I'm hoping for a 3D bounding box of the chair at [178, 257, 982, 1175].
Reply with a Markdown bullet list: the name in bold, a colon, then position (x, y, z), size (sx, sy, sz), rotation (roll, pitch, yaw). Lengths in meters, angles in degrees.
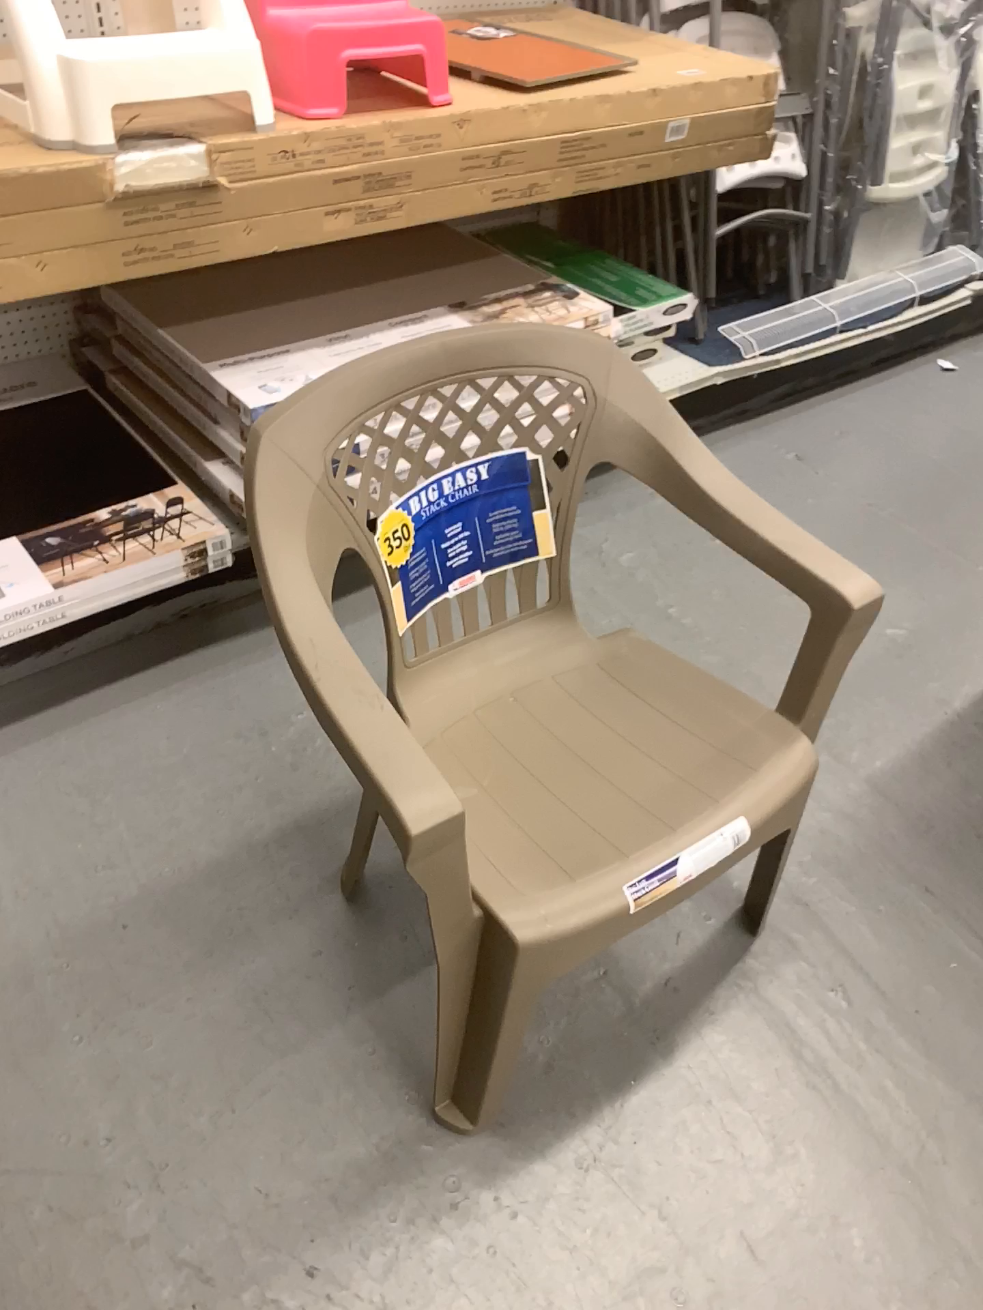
- **chair**: position (0.115, 0.052, 1.379), size (0.768, 0.878, 0.589), rotation (-22, 47, -28)
